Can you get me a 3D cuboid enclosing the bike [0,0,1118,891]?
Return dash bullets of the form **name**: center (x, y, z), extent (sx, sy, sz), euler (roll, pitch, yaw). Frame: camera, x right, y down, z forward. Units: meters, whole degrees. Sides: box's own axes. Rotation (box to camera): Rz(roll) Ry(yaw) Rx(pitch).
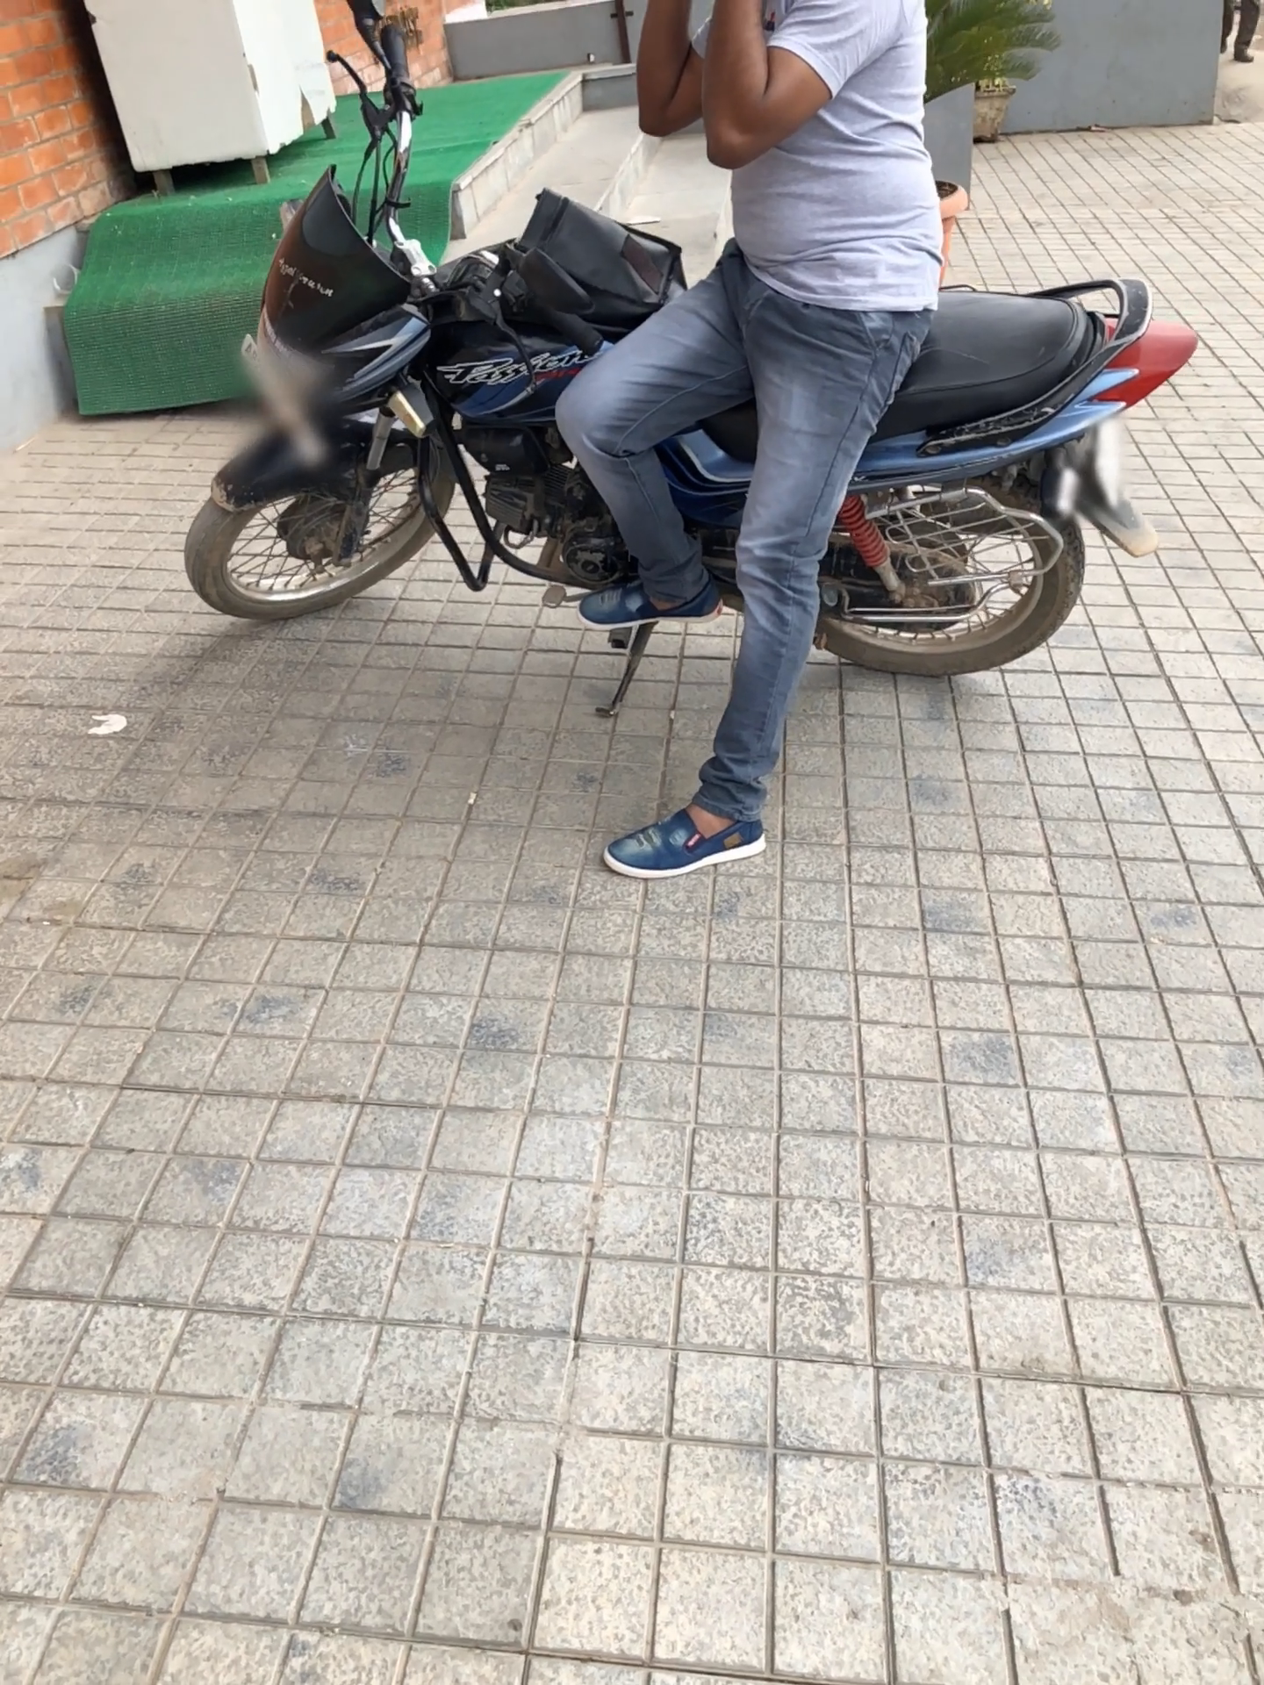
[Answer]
- **bike**: center (-0.147, -0.742, 2.385), extent (1.819, 1.345, 0.817), euler (1, 35, 8)
